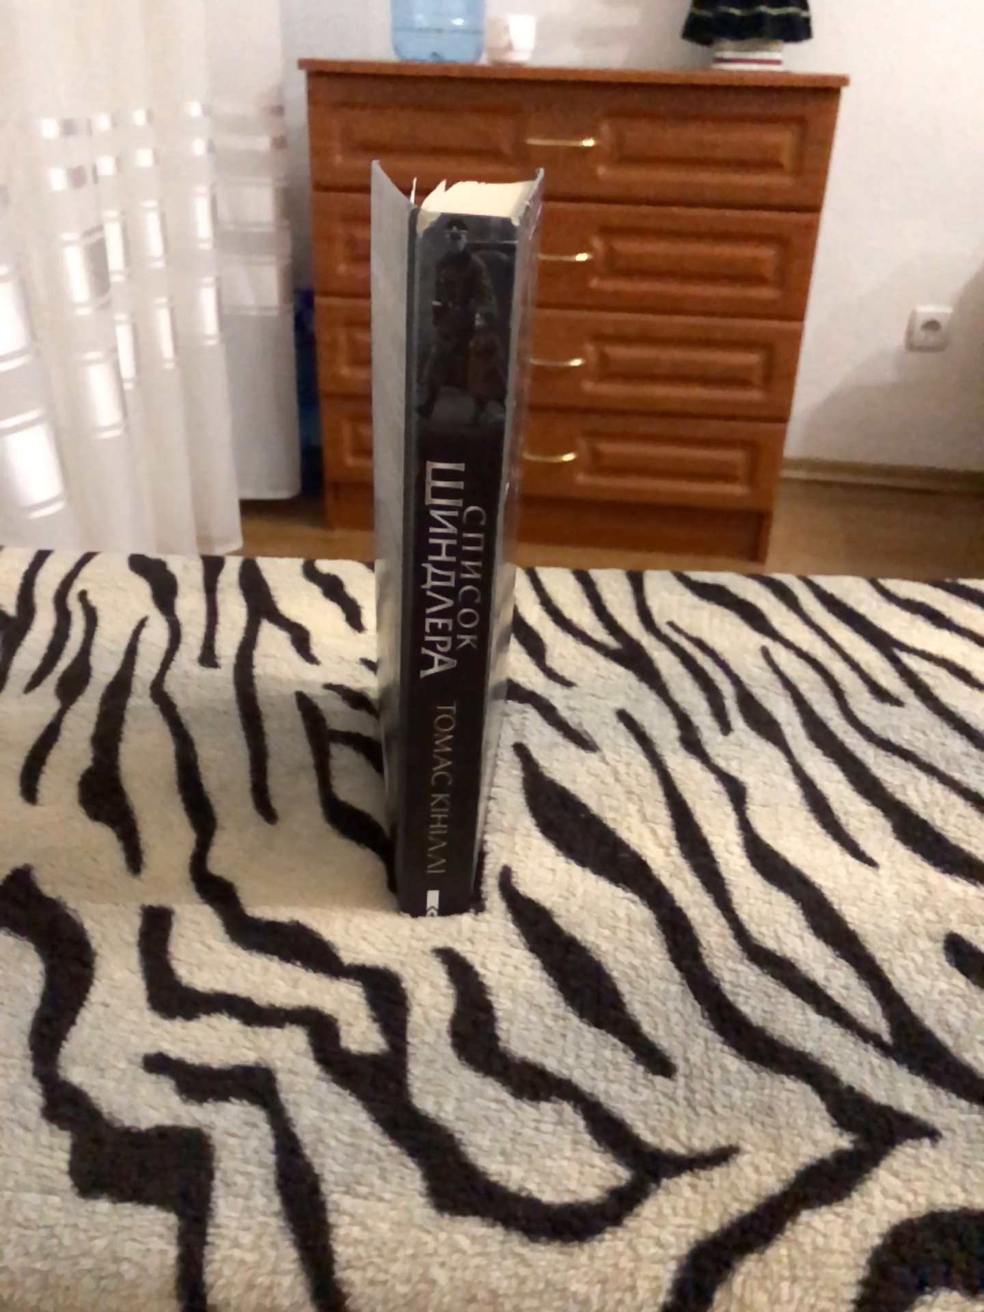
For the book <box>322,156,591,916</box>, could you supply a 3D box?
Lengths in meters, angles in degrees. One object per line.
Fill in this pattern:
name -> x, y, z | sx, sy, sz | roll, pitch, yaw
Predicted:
book -> -0.011, -0.043, 0.337 | 0.057, 0.191, 0.145 | 2, 28, -1
